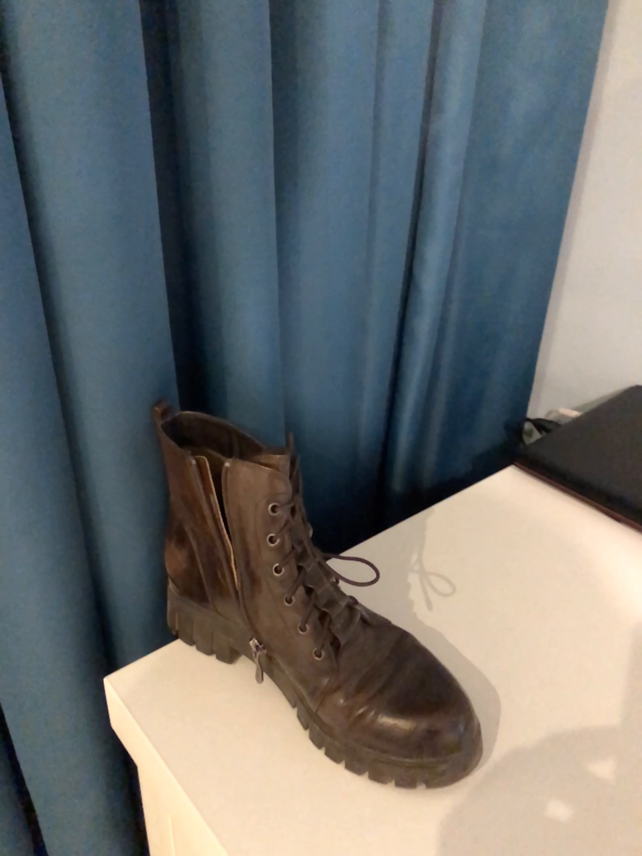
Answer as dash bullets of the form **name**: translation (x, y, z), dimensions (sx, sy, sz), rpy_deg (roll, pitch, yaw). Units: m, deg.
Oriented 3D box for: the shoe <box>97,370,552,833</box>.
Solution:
- **shoe**: translation (-0.011, 0.090, 0.461), dimensions (0.271, 0.169, 0.100), rpy_deg (21, 34, 34)
